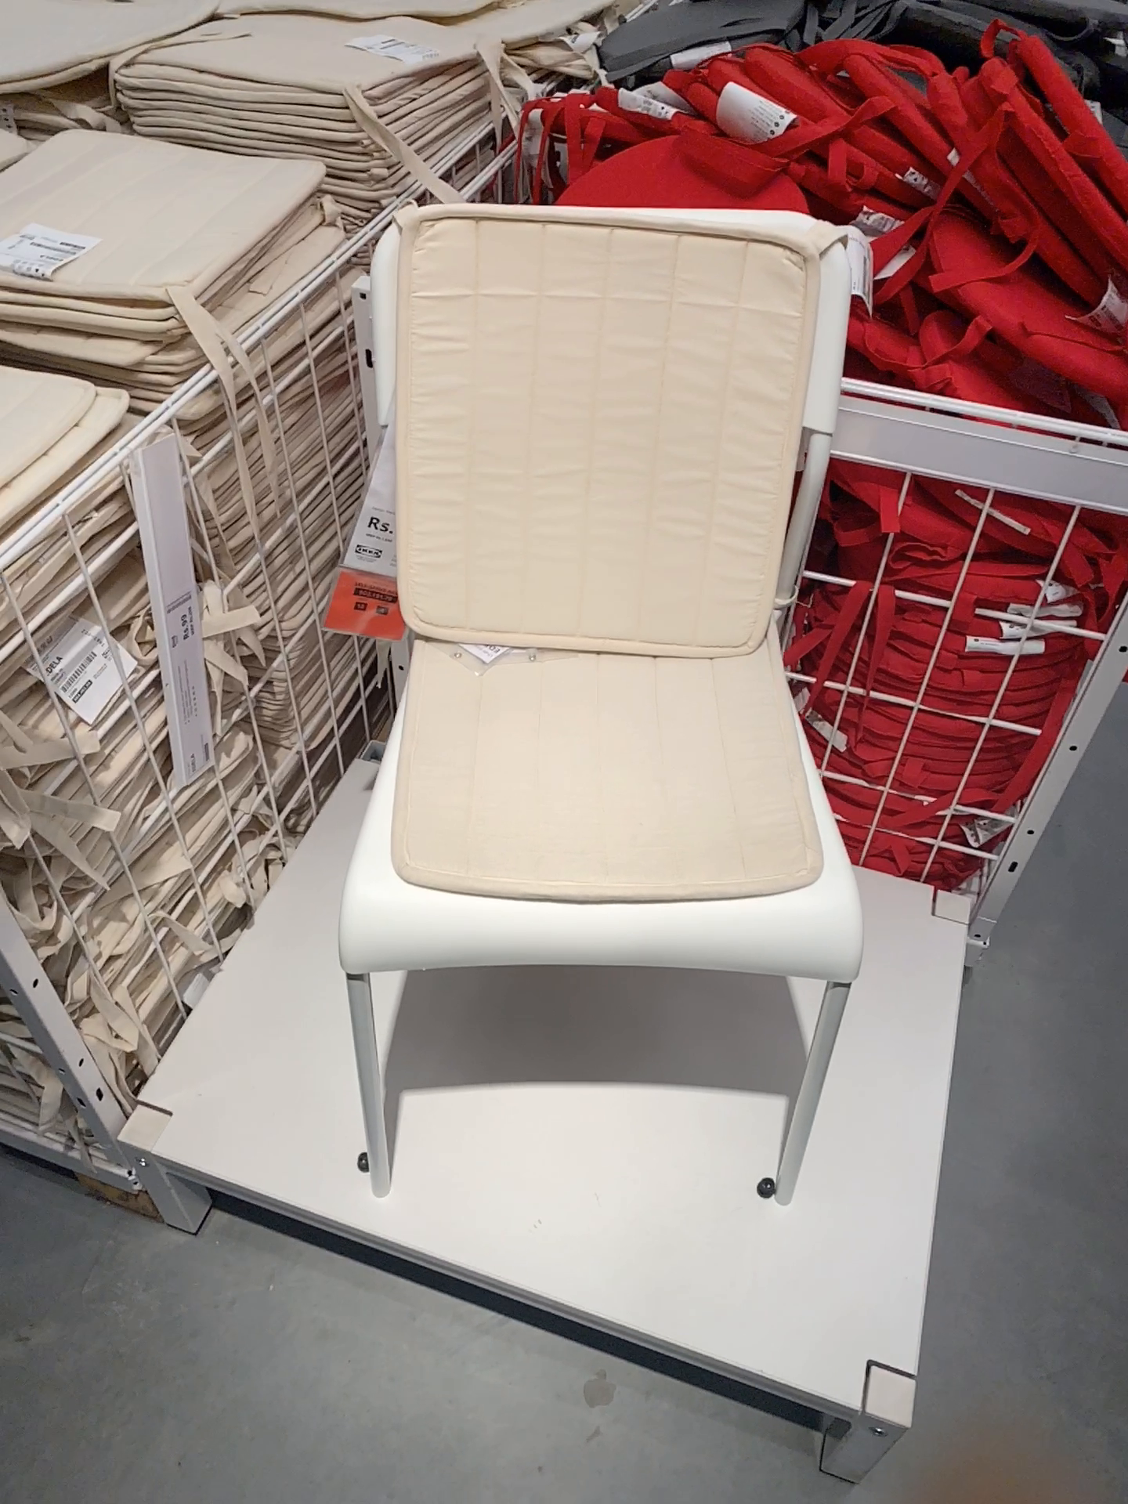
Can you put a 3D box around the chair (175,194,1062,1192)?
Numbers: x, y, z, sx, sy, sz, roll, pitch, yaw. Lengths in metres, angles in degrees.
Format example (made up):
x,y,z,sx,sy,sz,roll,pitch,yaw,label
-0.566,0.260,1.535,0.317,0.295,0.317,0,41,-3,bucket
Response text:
x,y,z,sx,sy,sz,roll,pitch,yaw,label
0.021,-0.013,0.973,0.430,0.697,0.482,1,46,-1,chair
